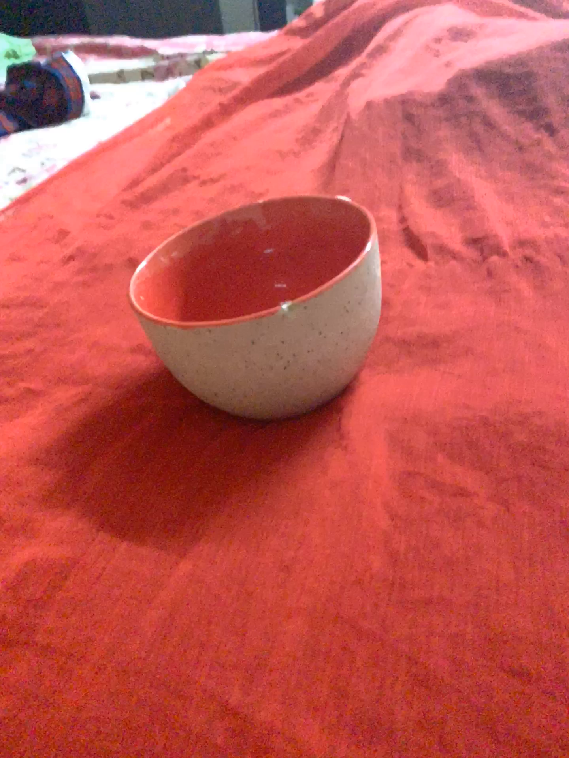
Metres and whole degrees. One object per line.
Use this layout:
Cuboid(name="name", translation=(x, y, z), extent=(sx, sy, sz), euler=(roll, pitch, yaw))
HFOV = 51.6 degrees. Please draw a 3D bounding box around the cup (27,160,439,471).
Cuboid(name="cup", translation=(-0.014, -0.046, 0.285), extent=(0.130, 0.069, 0.141), euler=(-8, 36, 6))
